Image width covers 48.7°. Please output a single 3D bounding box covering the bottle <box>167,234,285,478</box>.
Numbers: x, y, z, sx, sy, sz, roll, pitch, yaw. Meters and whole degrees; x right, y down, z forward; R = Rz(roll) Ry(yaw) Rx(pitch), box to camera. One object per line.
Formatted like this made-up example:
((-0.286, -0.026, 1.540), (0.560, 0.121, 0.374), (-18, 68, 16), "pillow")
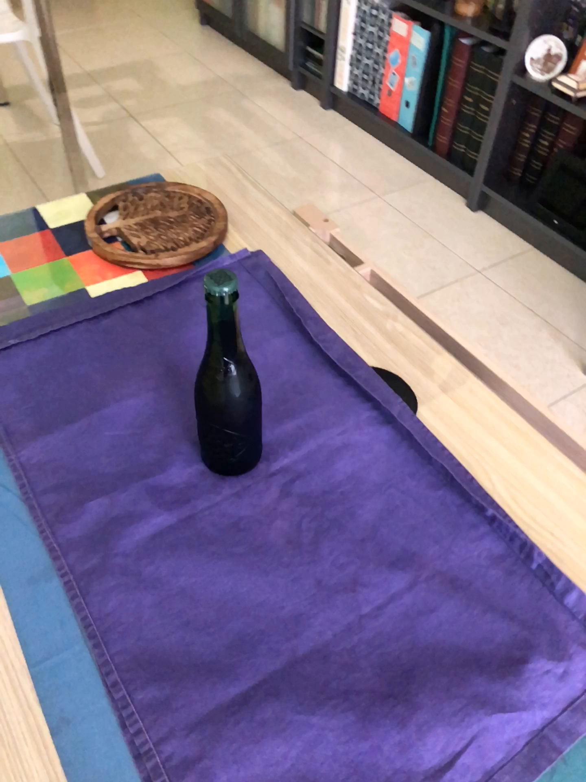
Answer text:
((-0.056, -0.021, 0.571), (0.080, 0.219, 0.070), (-8, 48, -10), "bottle")
